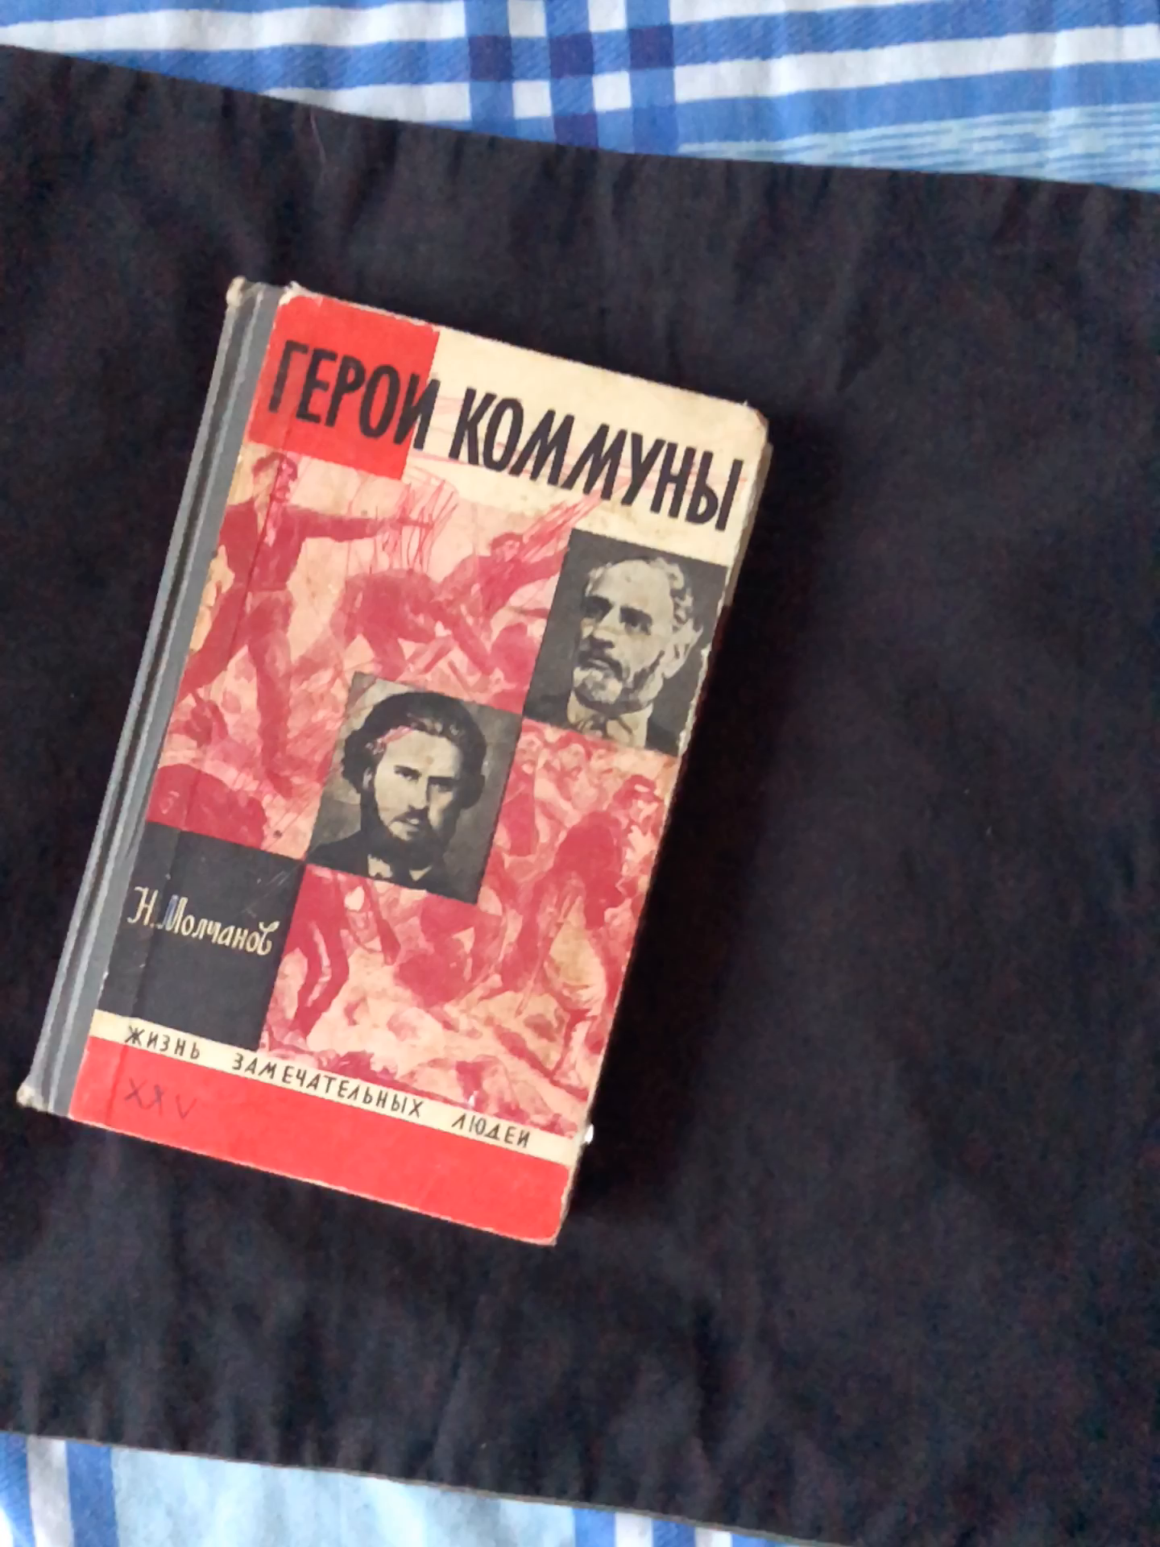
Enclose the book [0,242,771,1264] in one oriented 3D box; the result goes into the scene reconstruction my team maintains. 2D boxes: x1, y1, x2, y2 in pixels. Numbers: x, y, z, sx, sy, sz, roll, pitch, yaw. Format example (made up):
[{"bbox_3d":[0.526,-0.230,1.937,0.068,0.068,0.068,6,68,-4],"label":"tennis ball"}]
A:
[{"bbox_3d":[-0.043,-0.005,0.313,0.127,0.060,0.200,14,90,2],"label":"book"}]
